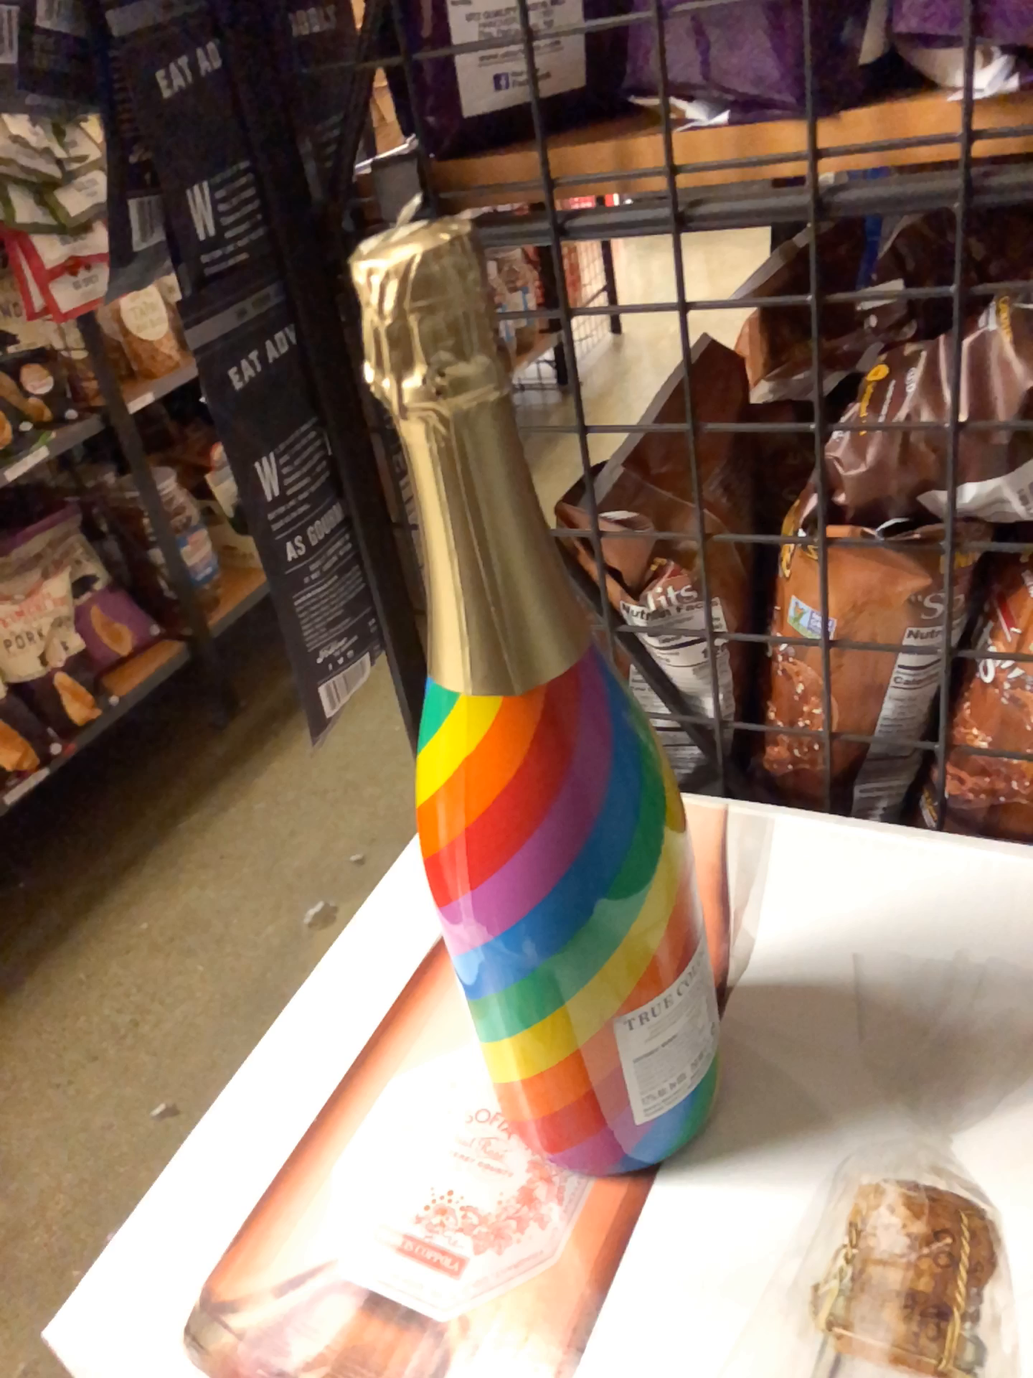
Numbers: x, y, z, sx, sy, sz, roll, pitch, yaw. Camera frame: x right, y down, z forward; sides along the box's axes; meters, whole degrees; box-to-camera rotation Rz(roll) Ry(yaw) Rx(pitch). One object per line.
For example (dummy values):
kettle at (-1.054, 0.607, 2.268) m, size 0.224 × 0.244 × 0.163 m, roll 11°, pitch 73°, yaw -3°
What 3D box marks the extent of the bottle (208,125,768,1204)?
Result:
bottle at (0.014, 0.012, 0.355) m, size 0.088 × 0.319 × 0.088 m, roll -8°, pitch 32°, yaw 5°
